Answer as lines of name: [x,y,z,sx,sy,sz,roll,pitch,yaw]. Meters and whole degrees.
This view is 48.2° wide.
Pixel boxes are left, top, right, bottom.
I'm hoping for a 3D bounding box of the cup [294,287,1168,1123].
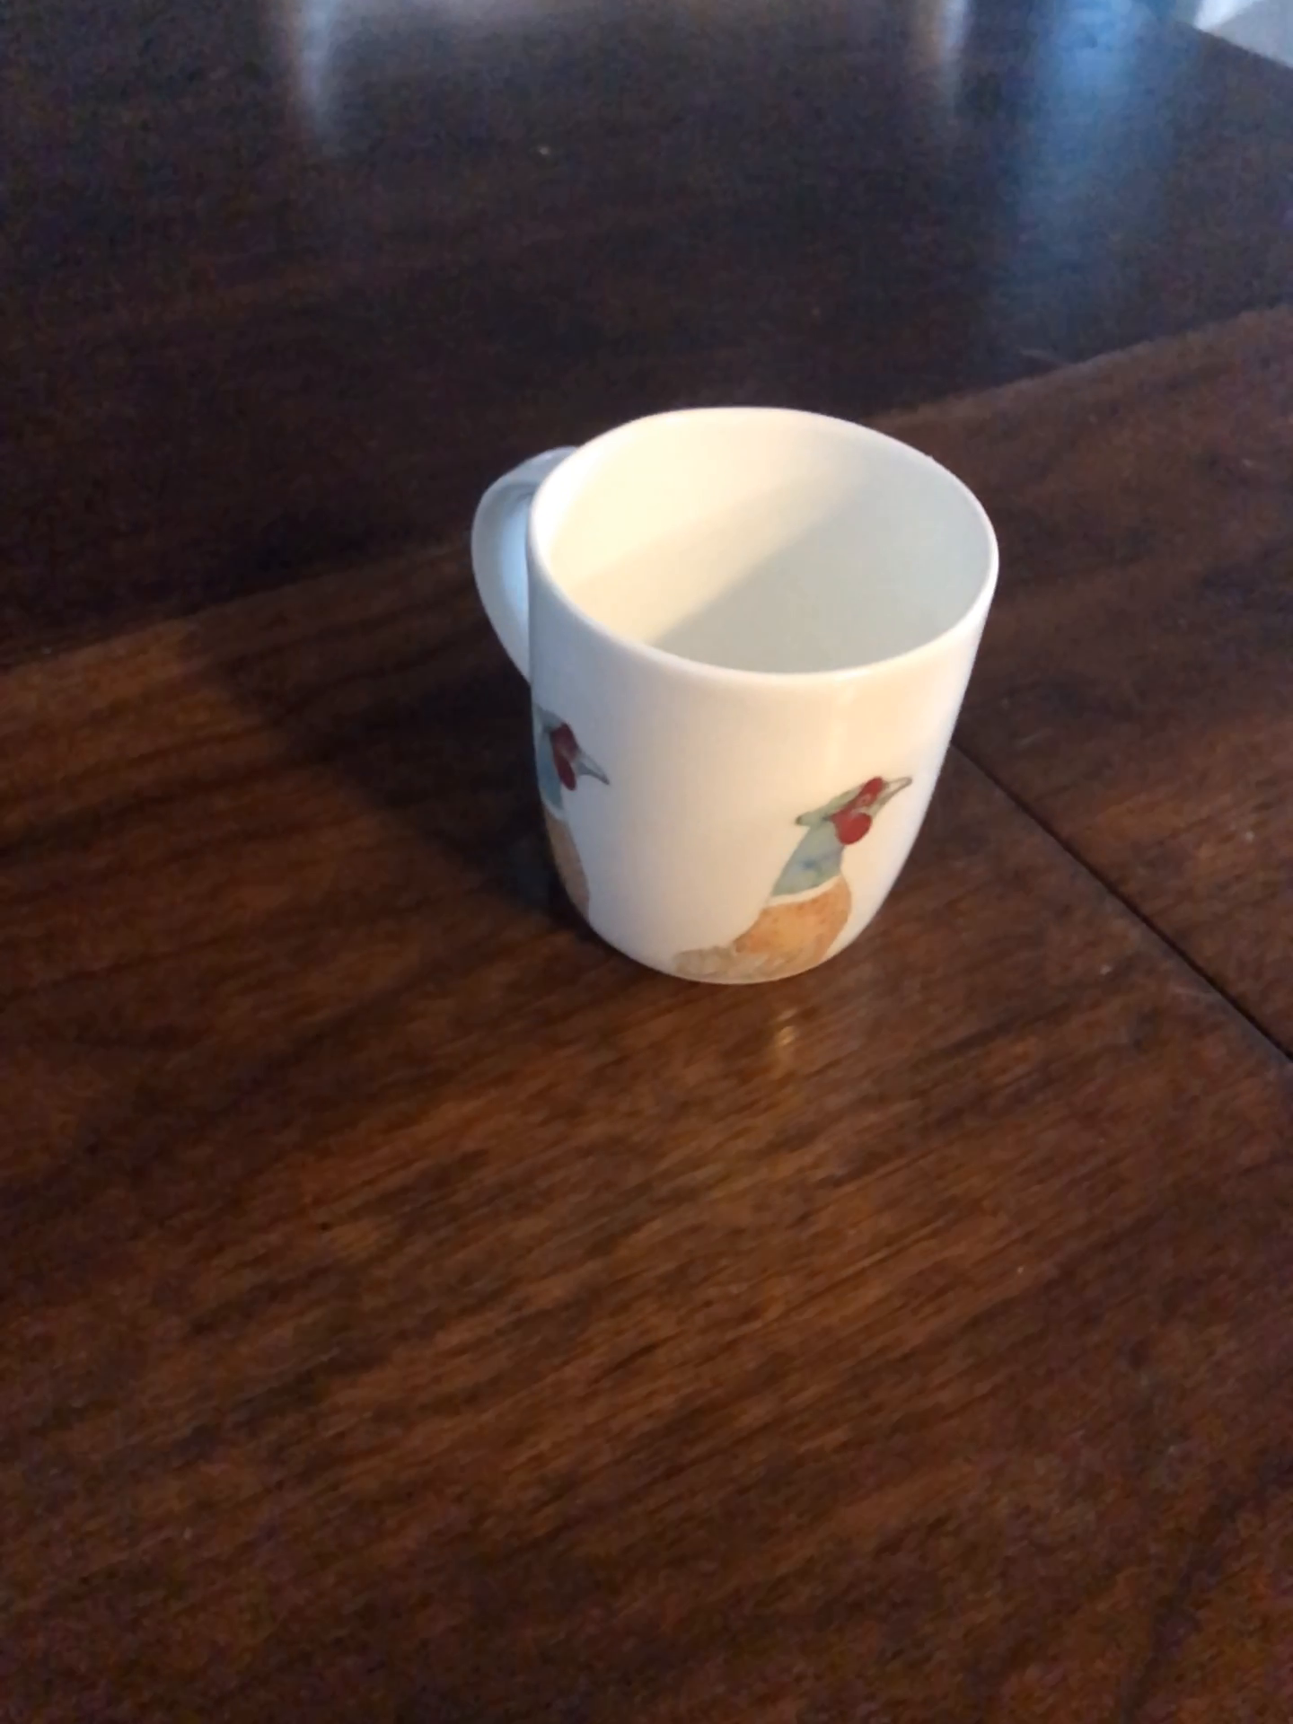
cup: [0.012,-0.038,0.293,0.130,0.090,0.090,33,52,25]
